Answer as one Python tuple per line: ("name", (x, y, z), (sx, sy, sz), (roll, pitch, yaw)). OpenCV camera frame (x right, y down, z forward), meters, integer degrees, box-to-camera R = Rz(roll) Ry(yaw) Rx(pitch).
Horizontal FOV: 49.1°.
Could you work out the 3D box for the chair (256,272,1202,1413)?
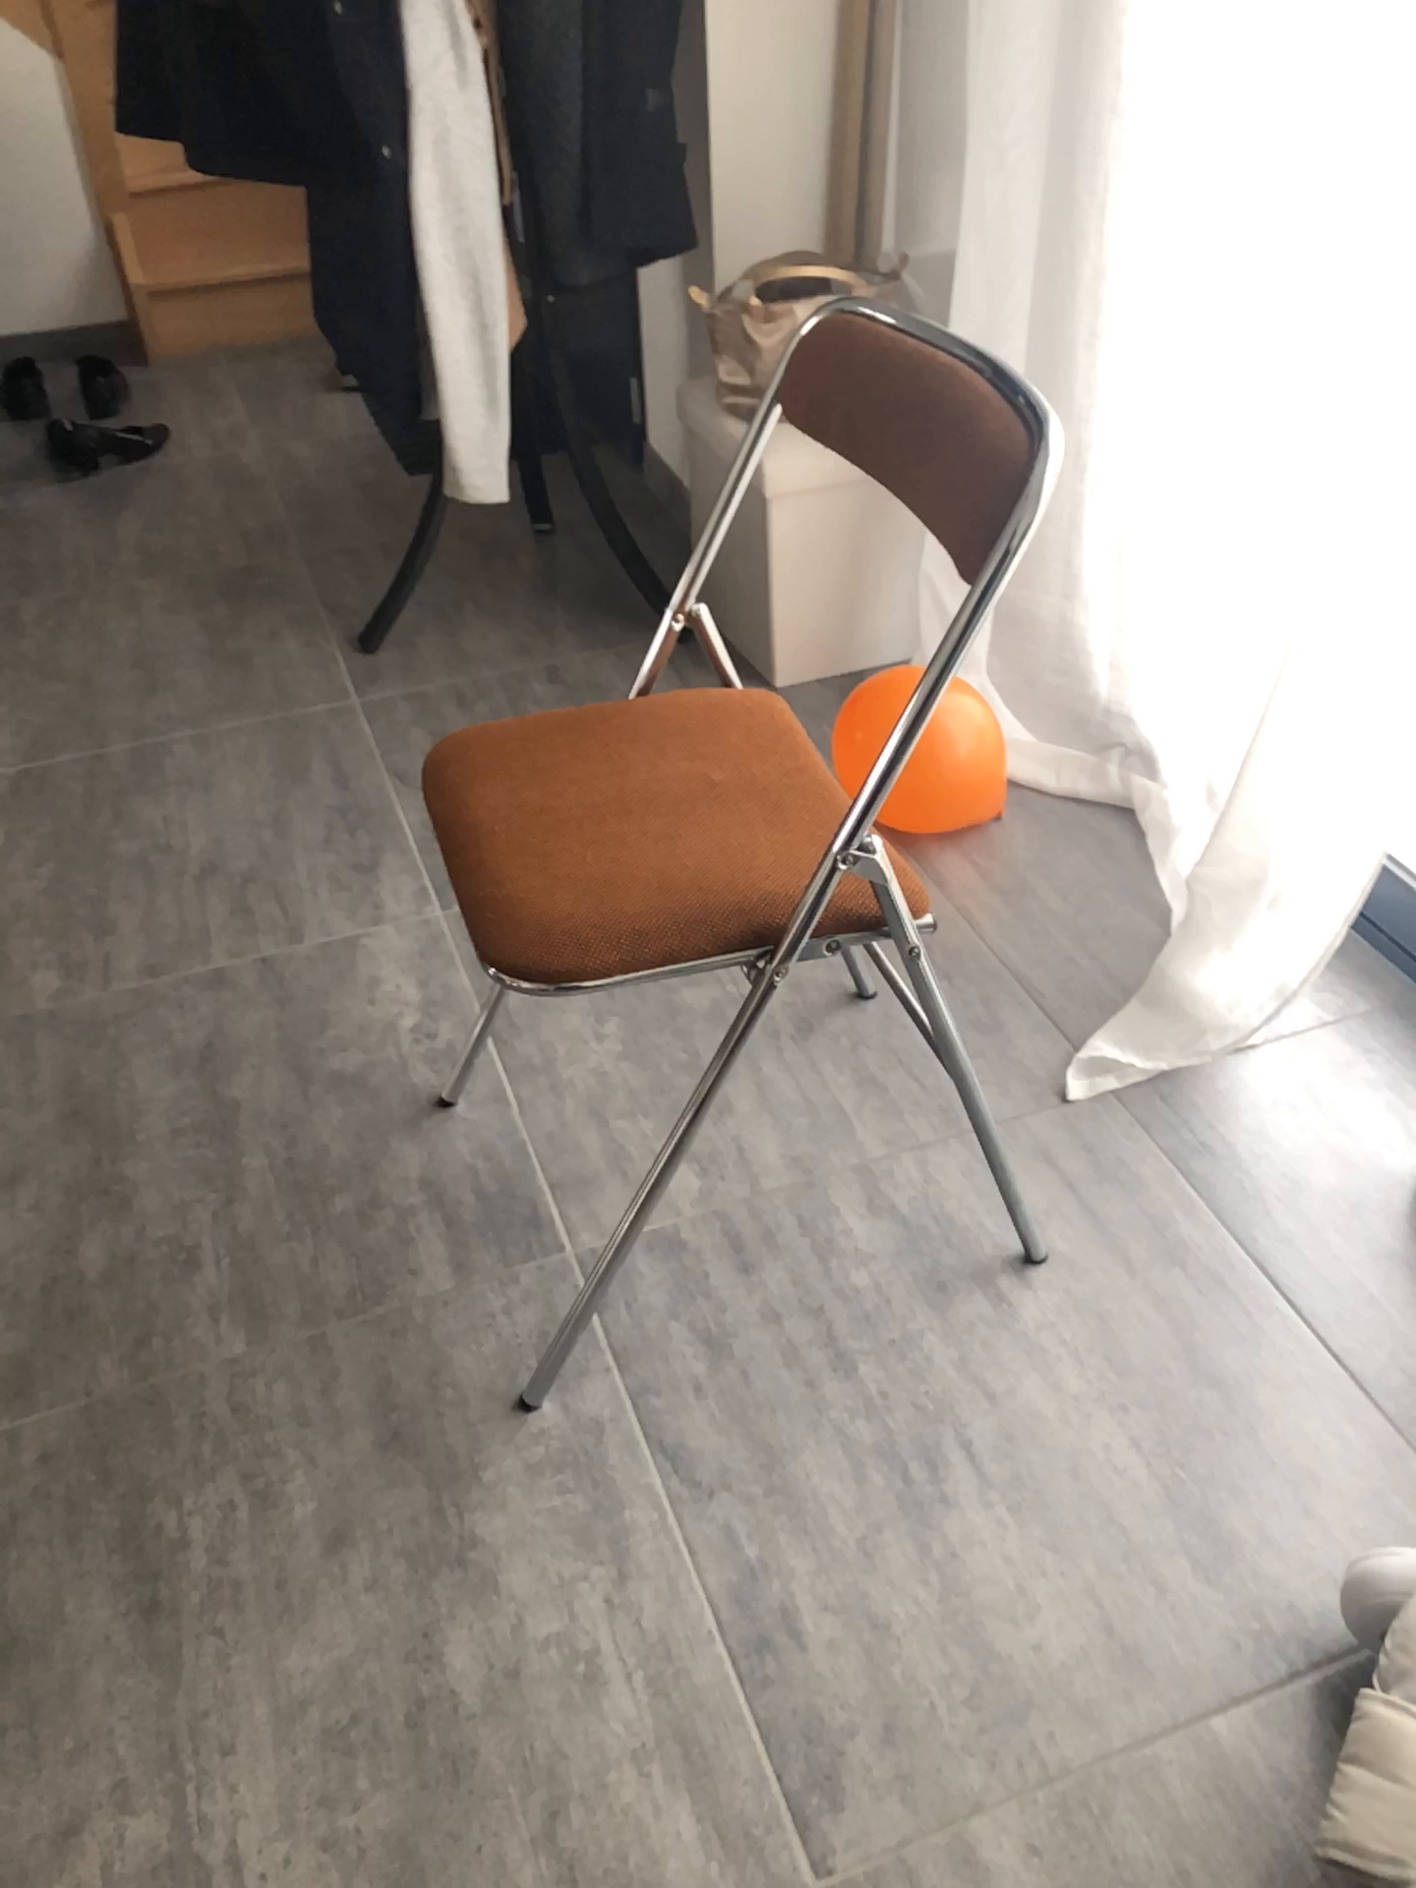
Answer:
("chair", (-0.011, -0.097, 1.320), (0.551, 0.736, 0.482), (-12, 38, -13))
